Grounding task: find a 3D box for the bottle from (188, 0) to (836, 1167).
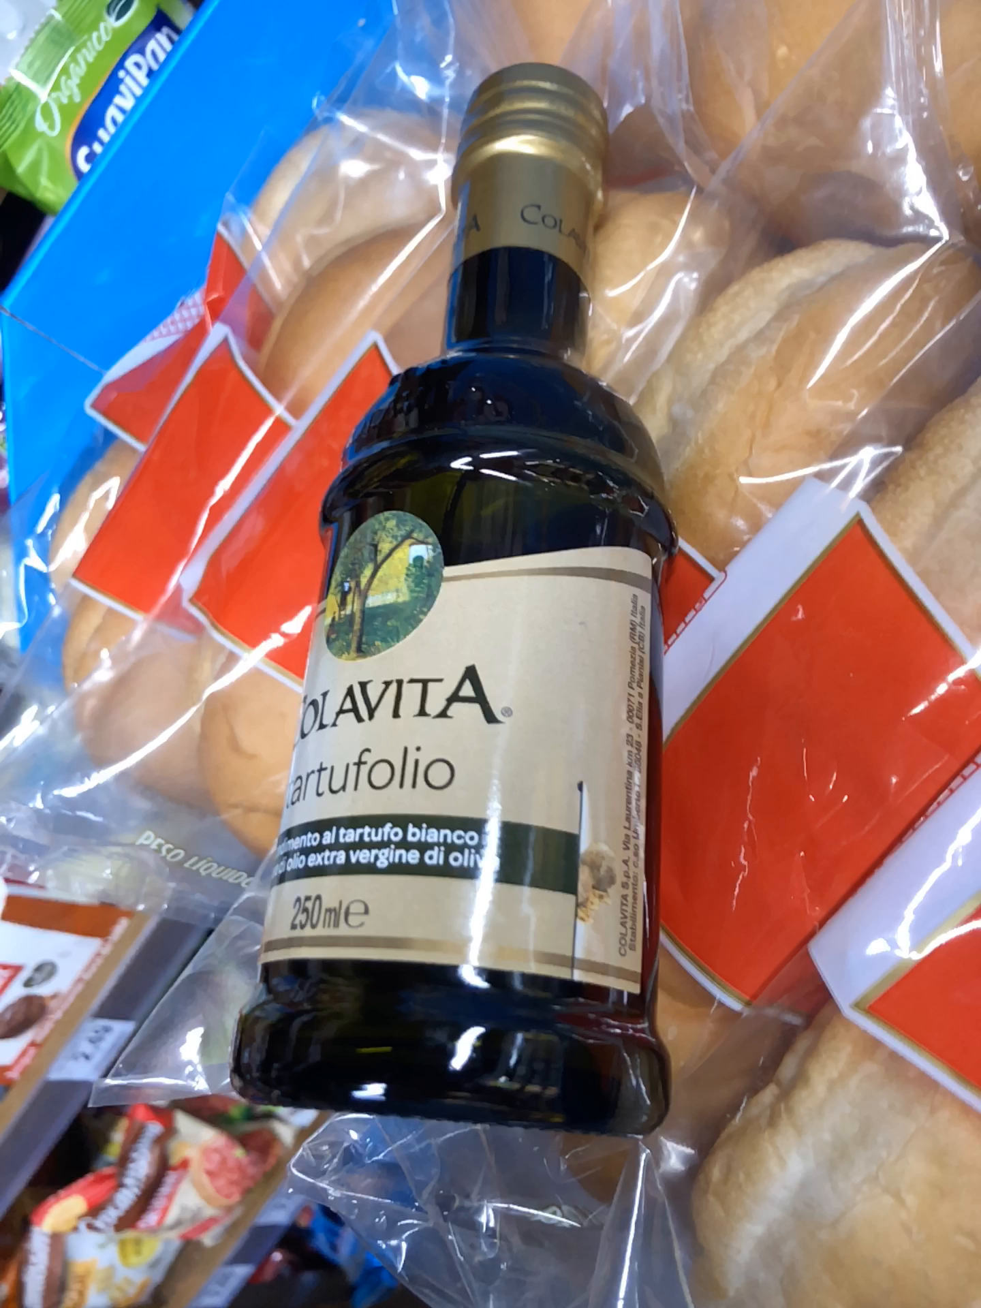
[{"bbox_3d":[0.006,-0.030,0.193,0.070,0.060,0.210,-14,65,36],"label":"bottle"}]
